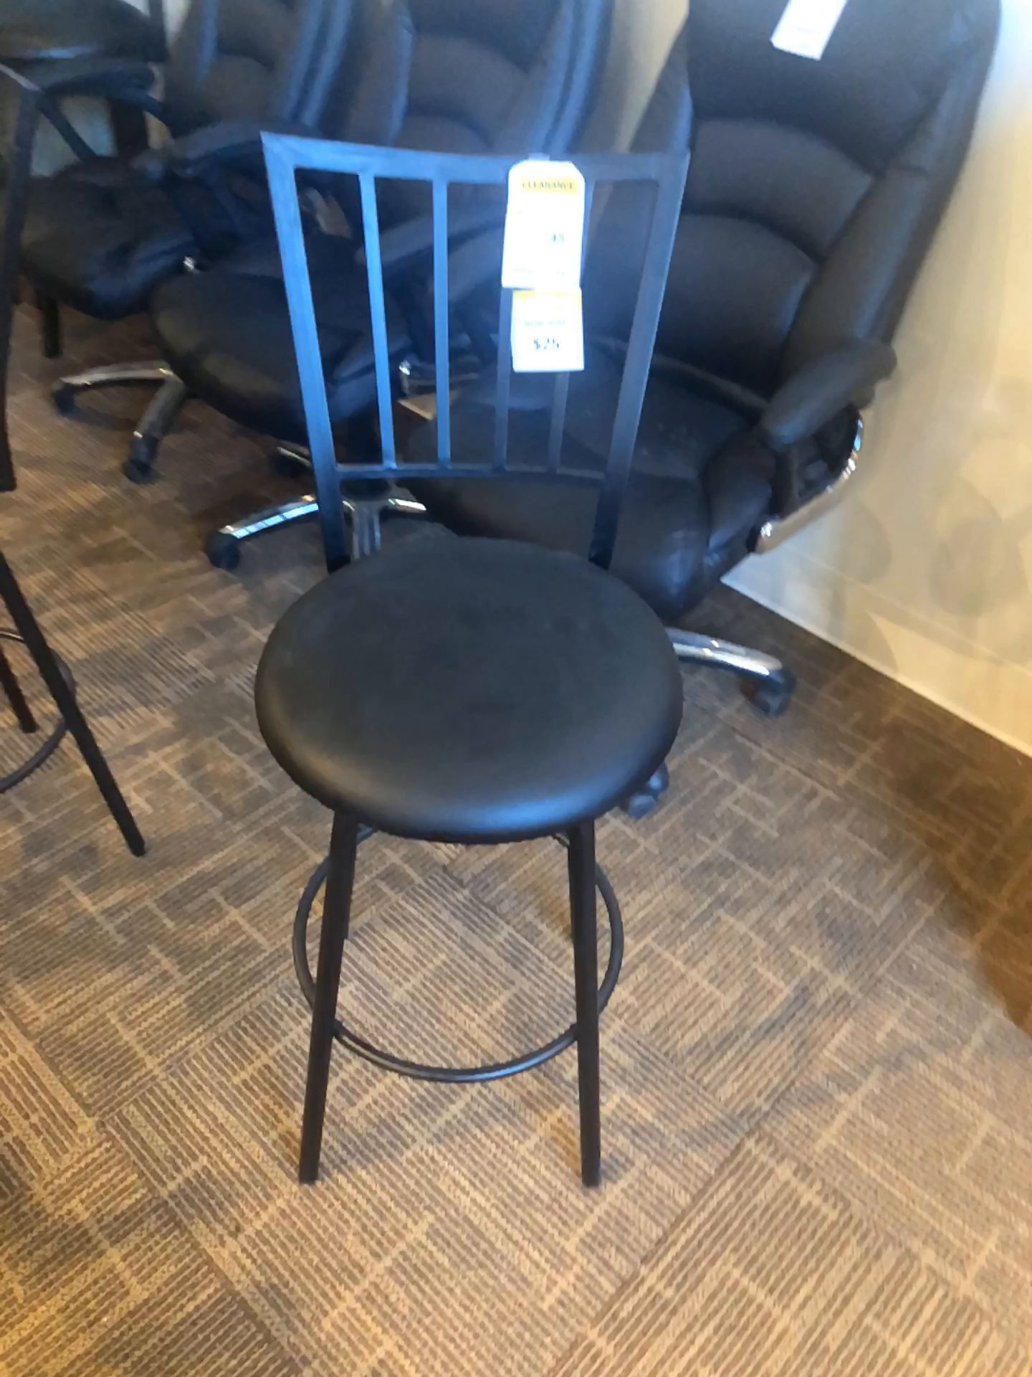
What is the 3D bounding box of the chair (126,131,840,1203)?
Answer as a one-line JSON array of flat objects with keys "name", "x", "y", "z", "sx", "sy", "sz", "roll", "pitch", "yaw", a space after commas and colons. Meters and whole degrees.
[{"name": "chair", "x": -0.061, "y": 0.061, "z": 1.213, "sx": 0.430, "sy": 1.075, "sz": 0.482, "roll": 1, "pitch": 41, "yaw": -5}]
